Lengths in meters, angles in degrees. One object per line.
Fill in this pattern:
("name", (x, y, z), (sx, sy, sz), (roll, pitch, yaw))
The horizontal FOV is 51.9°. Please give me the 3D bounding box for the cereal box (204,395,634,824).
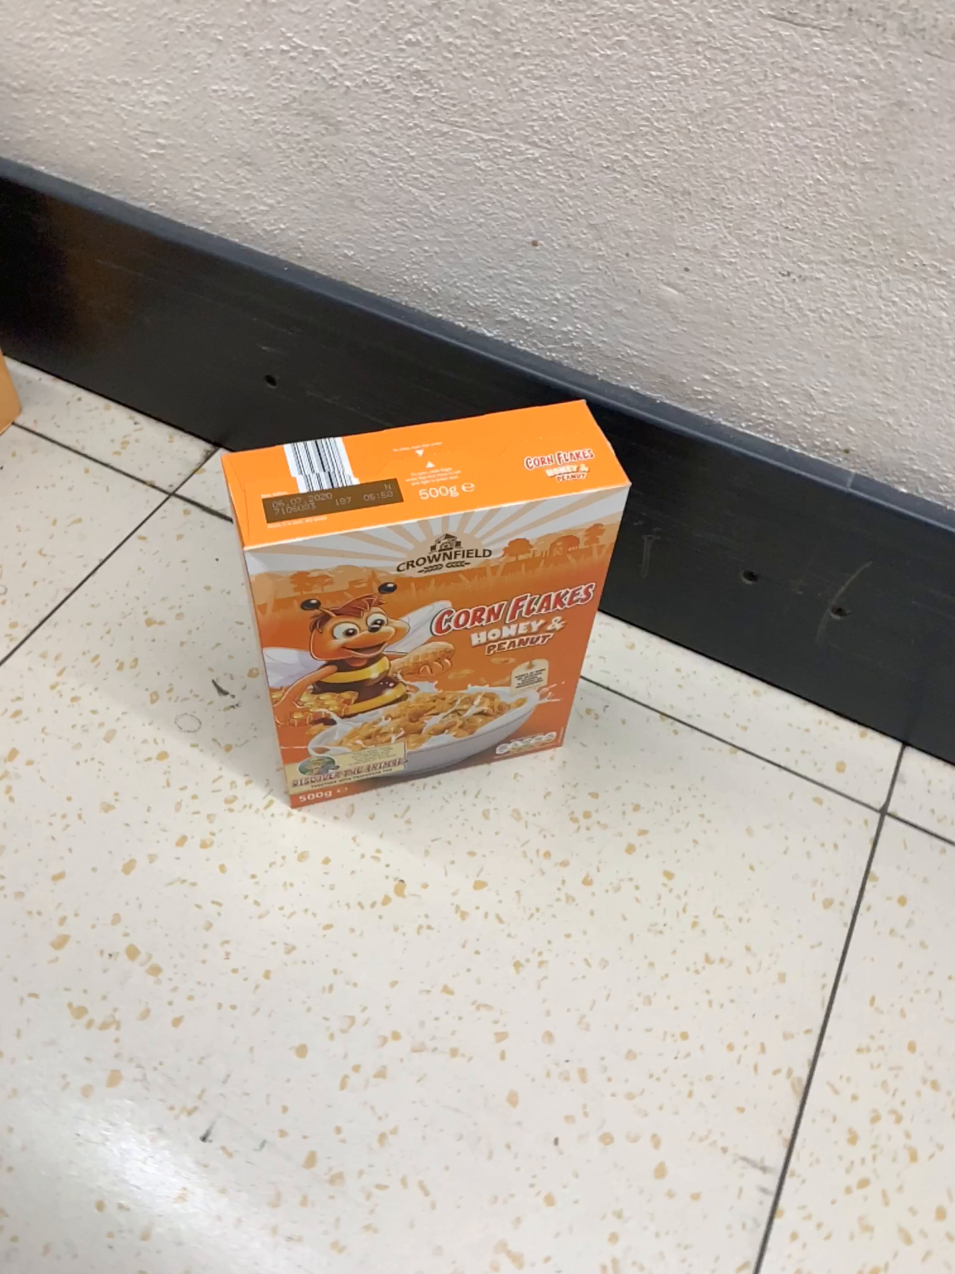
("cereal box", (-0.037, -0.003, 0.589), (0.200, 0.268, 0.071), (-11, 54, -13))
